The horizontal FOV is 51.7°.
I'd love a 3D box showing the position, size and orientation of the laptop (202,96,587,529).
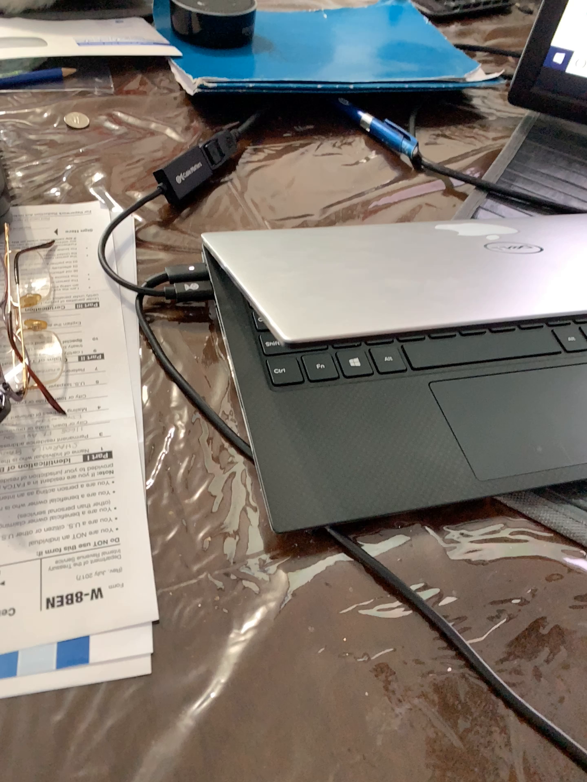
[{"bbox_3d":[0.114,-0.058,0.299,0.290,0.085,0.185,-6,51,-14],"label":"laptop"}]
